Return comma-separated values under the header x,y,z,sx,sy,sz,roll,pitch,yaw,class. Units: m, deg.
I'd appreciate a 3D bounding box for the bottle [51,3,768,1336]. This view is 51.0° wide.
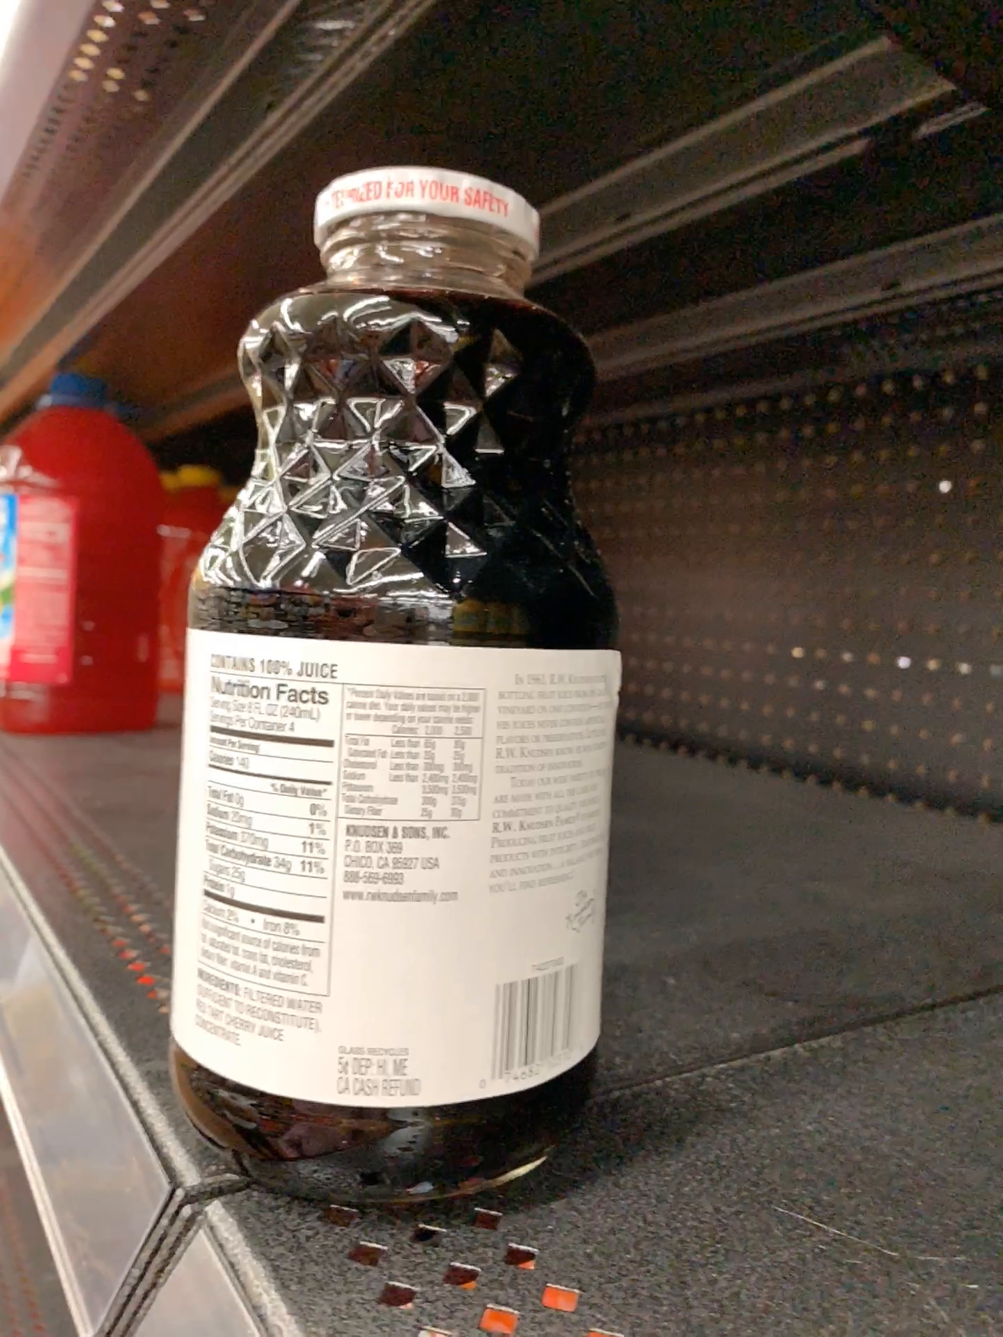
x,y,z,sx,sy,sz,roll,pitch,yaw,class
-0.023,-0.001,0.229,0.110,0.200,0.100,6,5,44,bottle
